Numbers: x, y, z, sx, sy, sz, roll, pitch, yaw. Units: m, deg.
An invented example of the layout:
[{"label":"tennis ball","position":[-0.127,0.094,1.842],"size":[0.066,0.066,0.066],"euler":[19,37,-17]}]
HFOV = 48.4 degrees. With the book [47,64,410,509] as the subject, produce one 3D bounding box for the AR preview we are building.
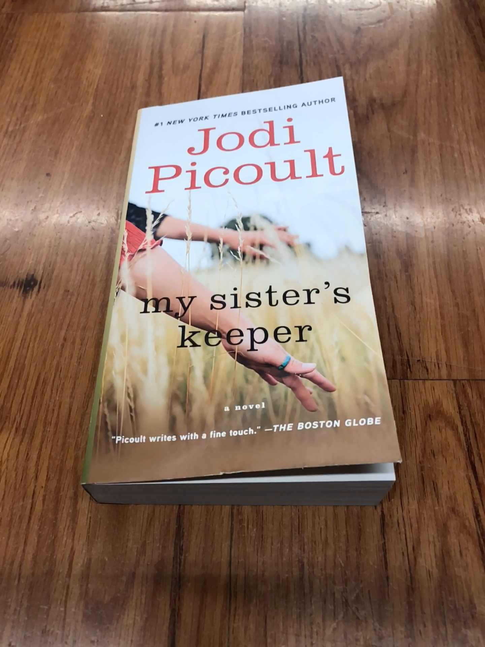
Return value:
[{"label":"book","position":[-0.003,-0.026,0.227],"size":[0.110,0.040,0.191],"euler":[-3,59,7]}]
